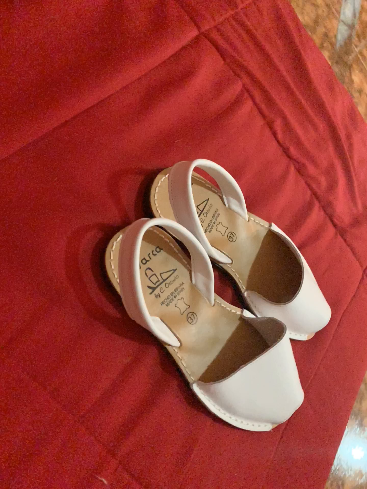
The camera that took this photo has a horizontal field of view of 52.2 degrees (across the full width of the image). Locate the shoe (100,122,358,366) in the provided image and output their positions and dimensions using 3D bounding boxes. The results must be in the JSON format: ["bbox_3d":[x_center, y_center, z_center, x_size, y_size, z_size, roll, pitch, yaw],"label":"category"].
[{"bbox_3d":[0.059,0.013,0.362,0.250,0.063,0.103,36,62,-23],"label":"shoe"}]

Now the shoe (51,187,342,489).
[{"bbox_3d":[0.025,0.086,0.322,0.248,0.063,0.108,48,58,-16],"label":"shoe"}]
